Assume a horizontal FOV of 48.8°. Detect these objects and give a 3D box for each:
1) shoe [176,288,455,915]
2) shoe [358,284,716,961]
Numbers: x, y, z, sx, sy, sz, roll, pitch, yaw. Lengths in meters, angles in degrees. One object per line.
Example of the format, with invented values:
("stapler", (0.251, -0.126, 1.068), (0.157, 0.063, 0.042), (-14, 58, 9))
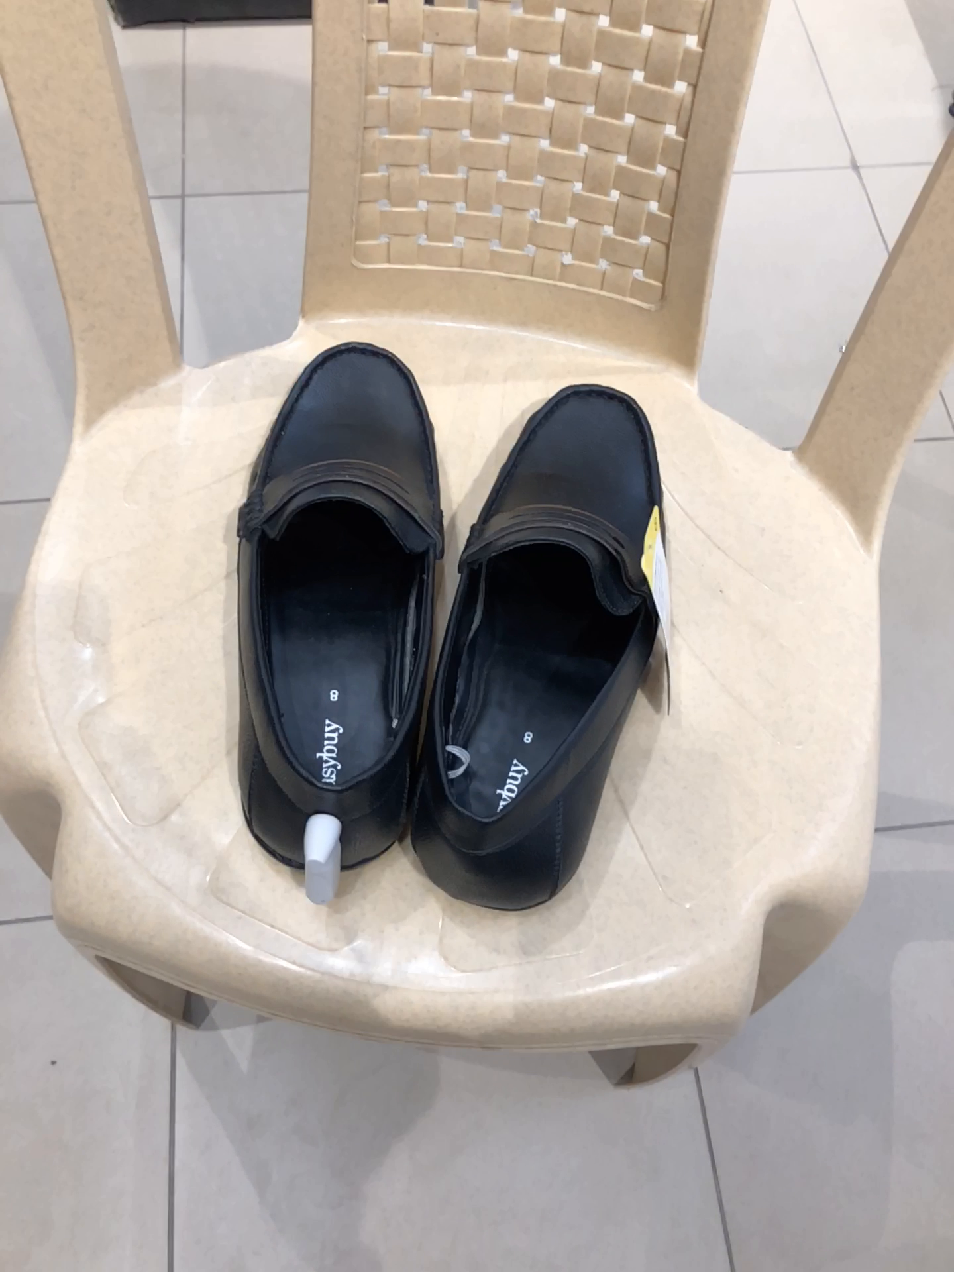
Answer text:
("shoe", (-0.061, -0.021, 0.481), (0.100, 0.088, 0.276), (1, 65, -2))
("shoe", (0.033, -0.014, 0.476), (0.100, 0.088, 0.283), (12, 65, 3))
